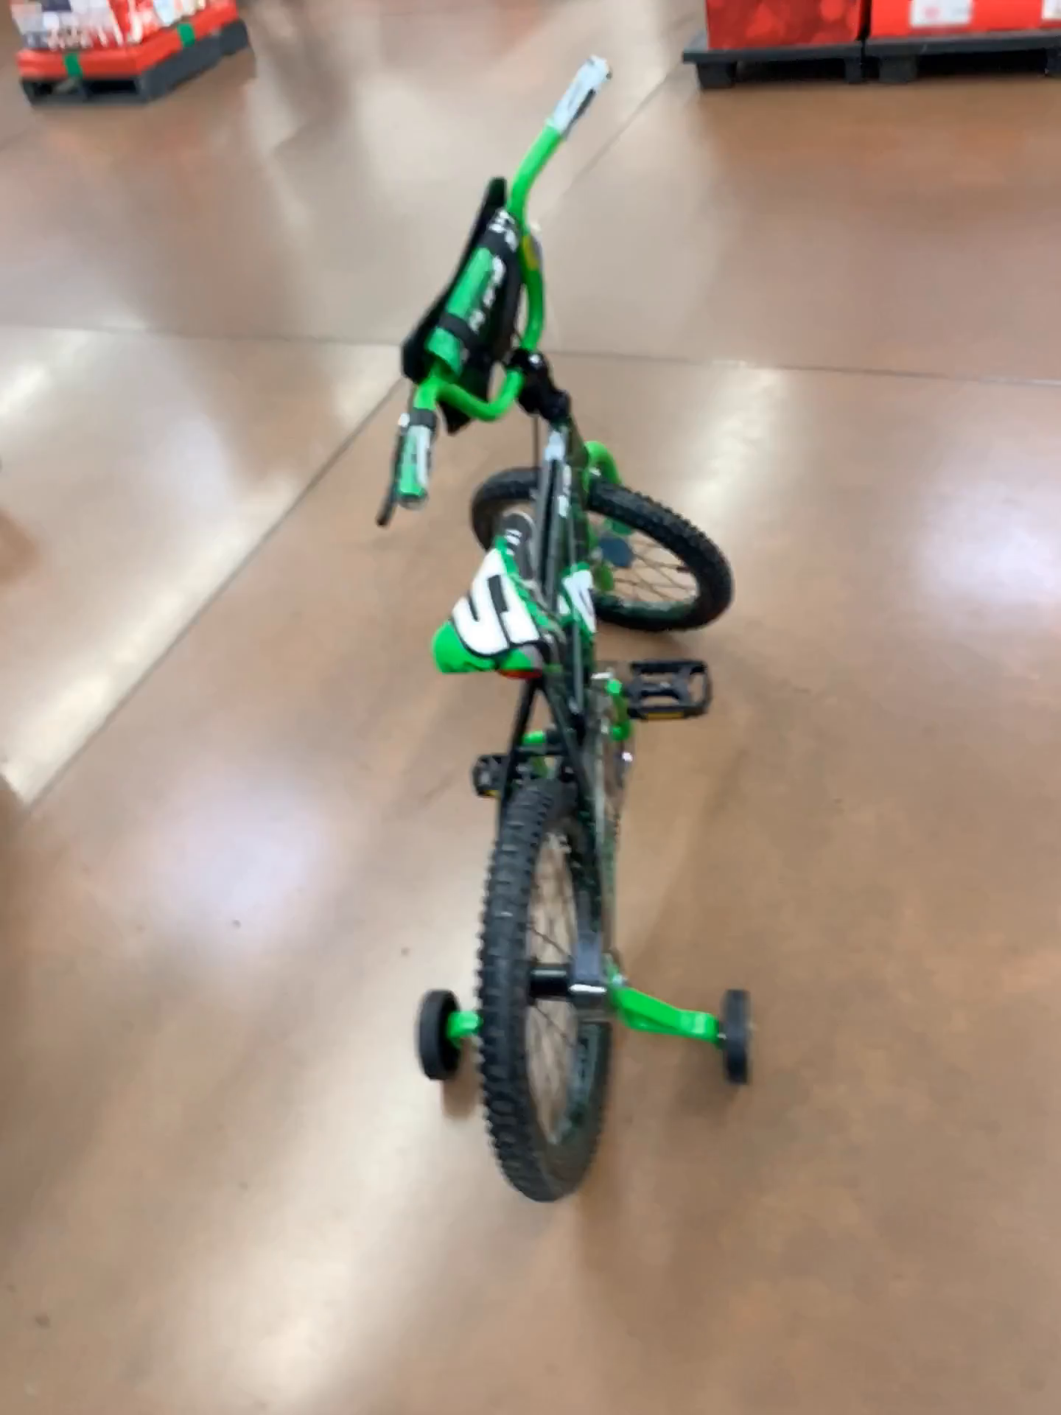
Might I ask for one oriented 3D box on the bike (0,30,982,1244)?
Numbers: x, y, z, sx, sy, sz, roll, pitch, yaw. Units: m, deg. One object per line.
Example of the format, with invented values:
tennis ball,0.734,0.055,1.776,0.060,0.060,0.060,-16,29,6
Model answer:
bike,-0.074,-0.087,1.275,0.635,0.914,1.056,-9,45,4
